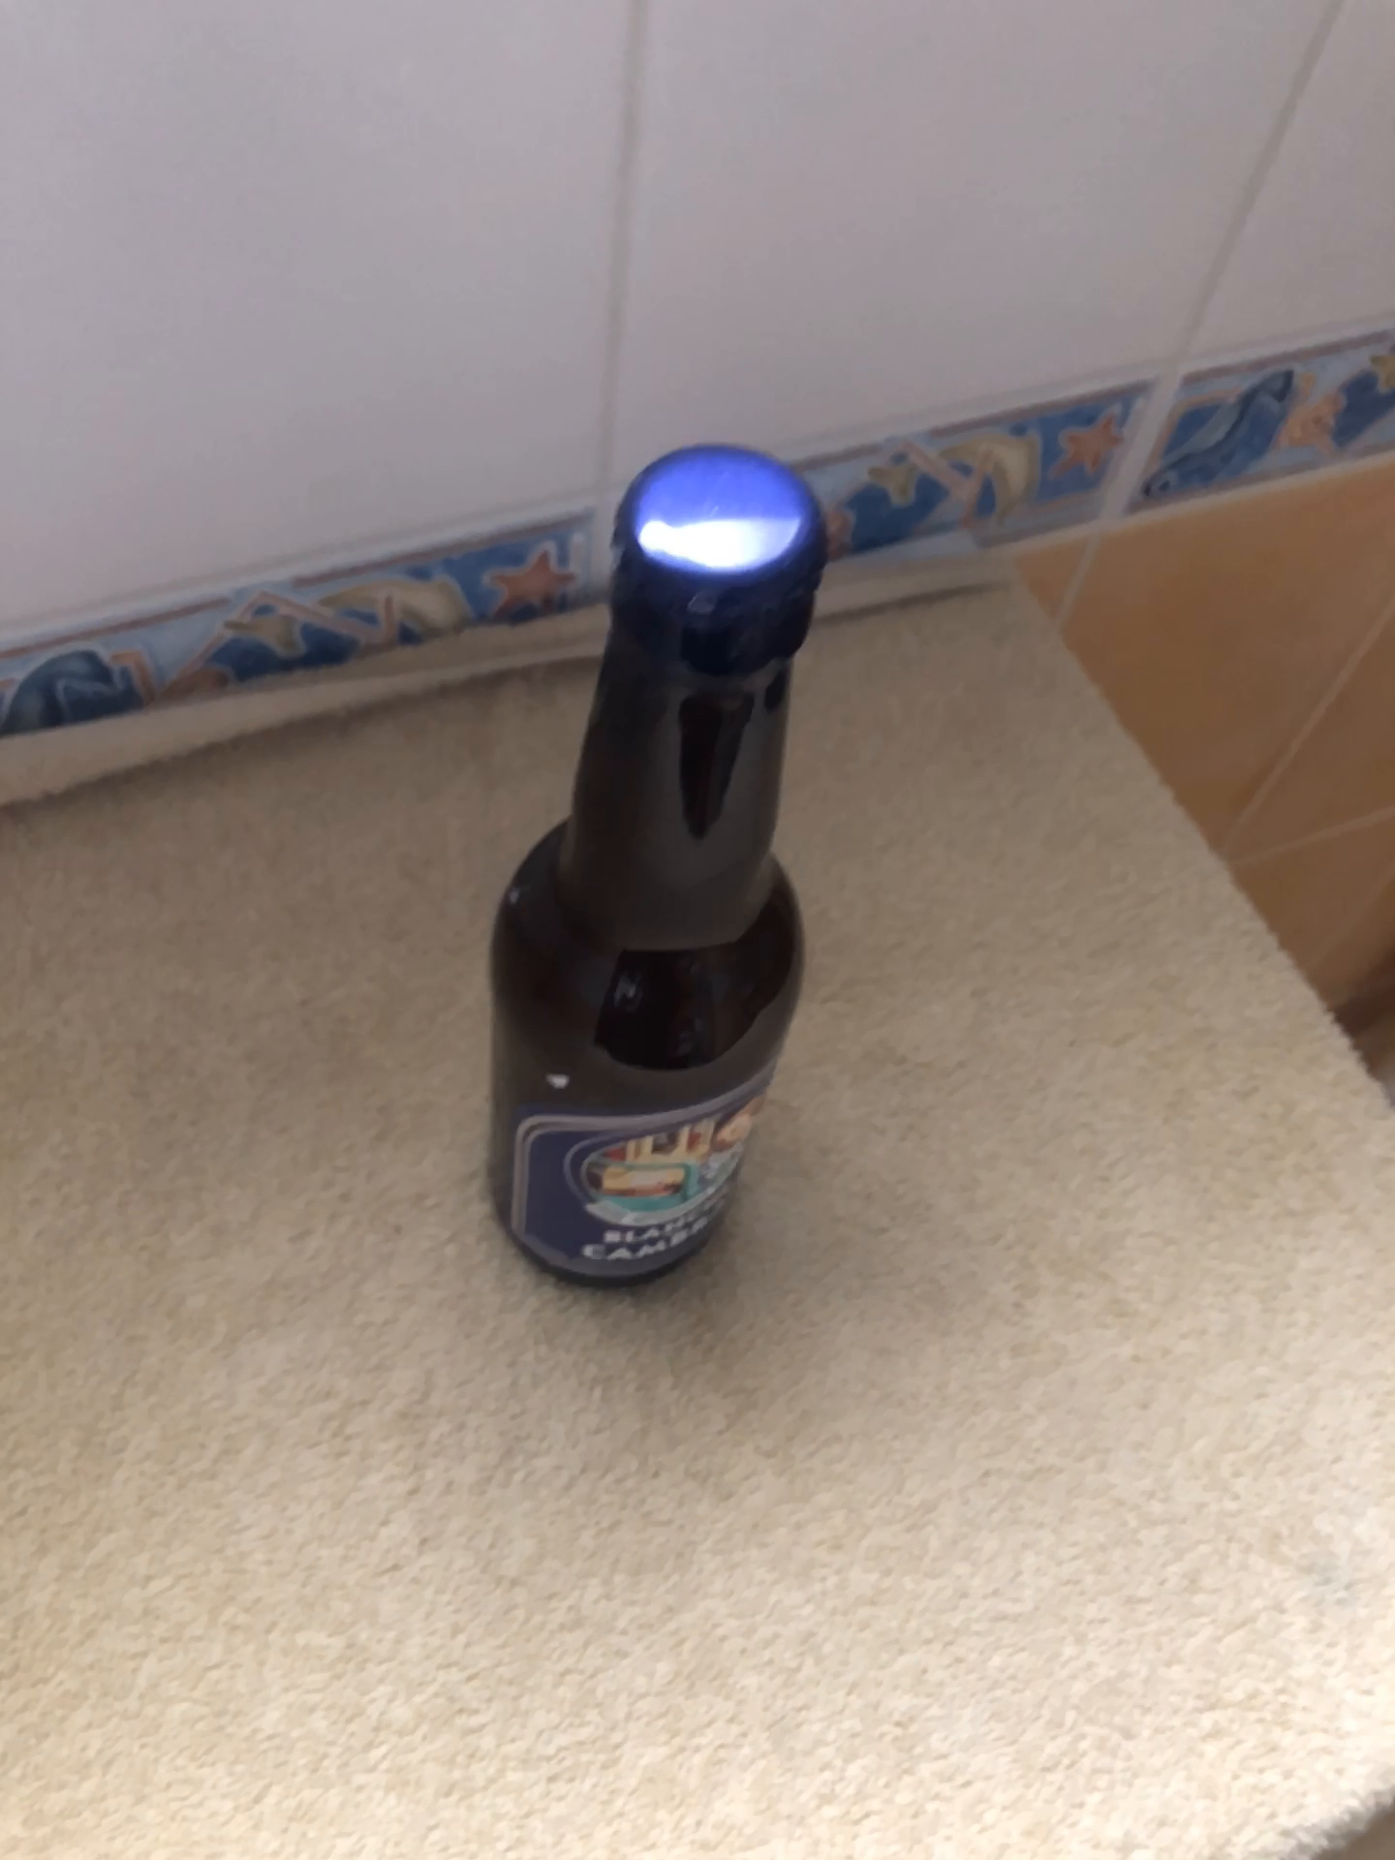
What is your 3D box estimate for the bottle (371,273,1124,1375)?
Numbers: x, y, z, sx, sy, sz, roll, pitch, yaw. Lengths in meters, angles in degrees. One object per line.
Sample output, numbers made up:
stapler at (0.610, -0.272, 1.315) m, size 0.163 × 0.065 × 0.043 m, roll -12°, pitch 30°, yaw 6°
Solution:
bottle at (-0.007, 0.004, 0.286) m, size 0.070 × 0.219 × 0.070 m, roll 3°, pitch 58°, yaw -5°
